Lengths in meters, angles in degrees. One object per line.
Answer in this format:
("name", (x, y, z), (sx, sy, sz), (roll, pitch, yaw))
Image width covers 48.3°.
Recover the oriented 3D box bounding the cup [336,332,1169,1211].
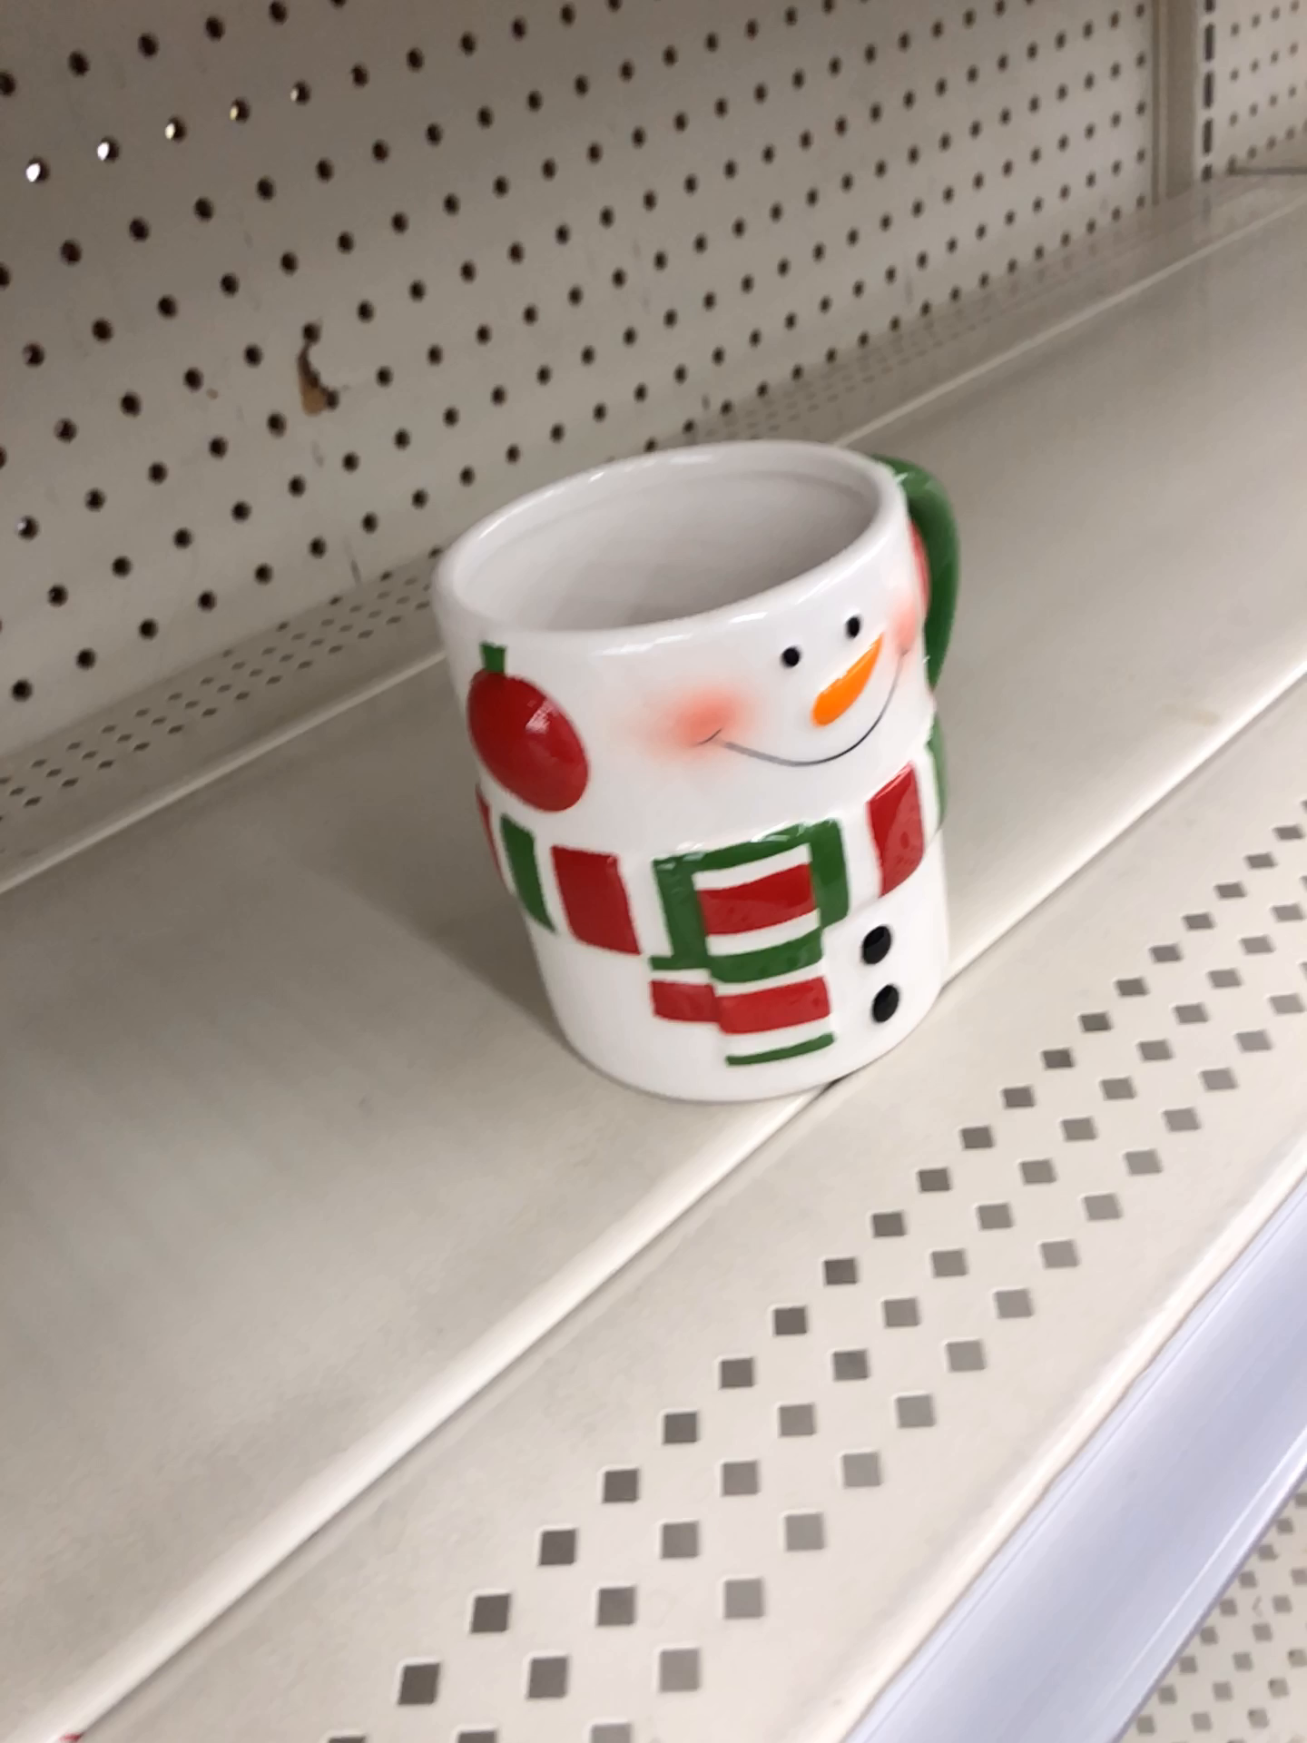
("cup", (0.030, -0.030, 0.294), (0.090, 0.110, 0.130), (20, 46, 39))
